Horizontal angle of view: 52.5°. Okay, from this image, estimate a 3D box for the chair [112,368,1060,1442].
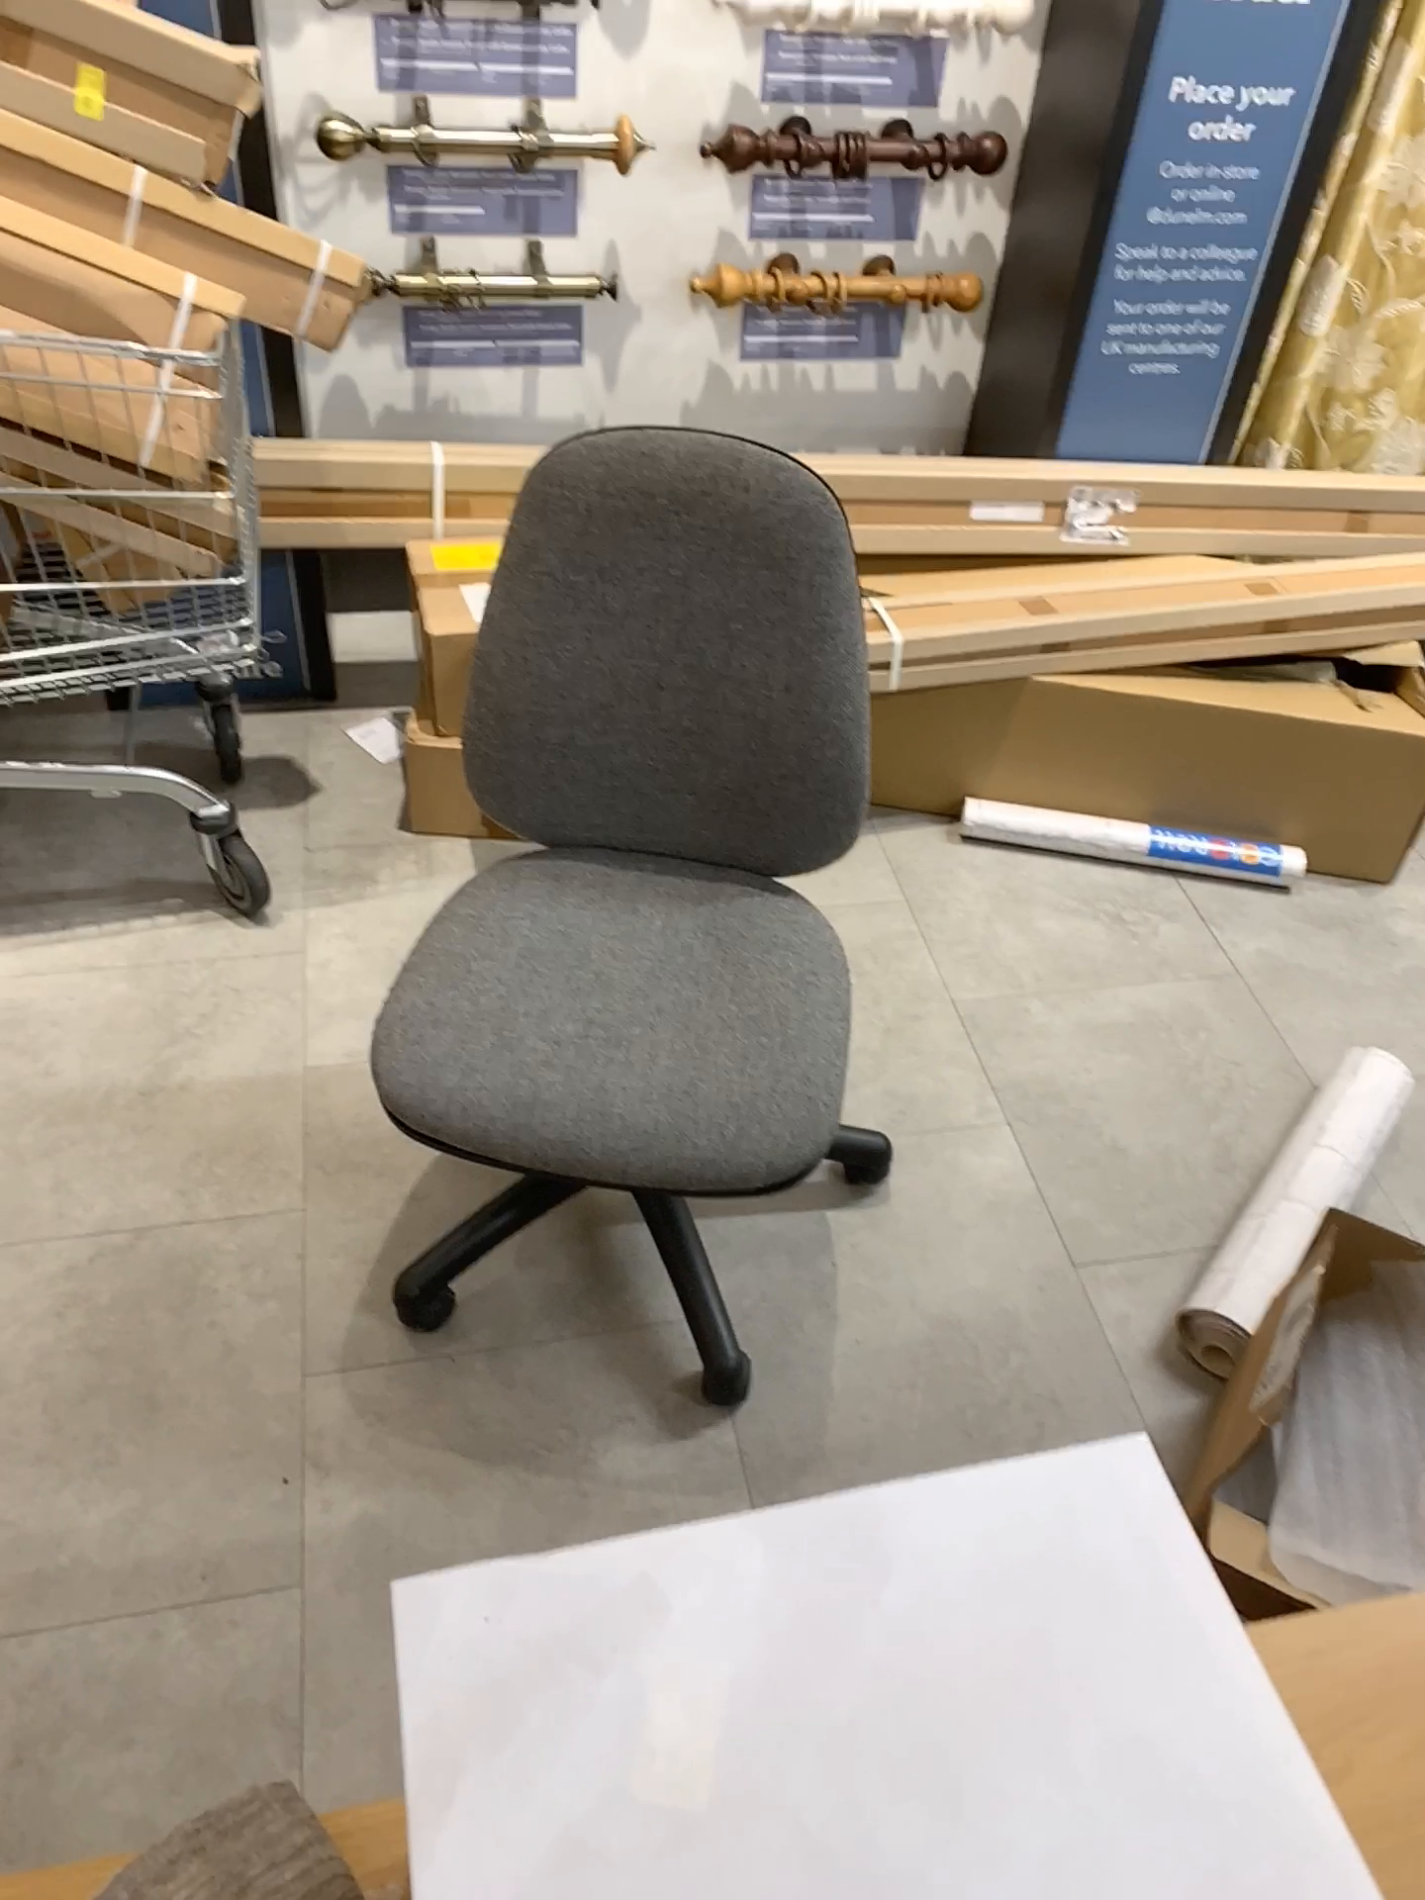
[{"bbox_3d":[-0.074,-0.042,1.425,0.627,0.750,0.629,8,42,3],"label":"chair"}]
